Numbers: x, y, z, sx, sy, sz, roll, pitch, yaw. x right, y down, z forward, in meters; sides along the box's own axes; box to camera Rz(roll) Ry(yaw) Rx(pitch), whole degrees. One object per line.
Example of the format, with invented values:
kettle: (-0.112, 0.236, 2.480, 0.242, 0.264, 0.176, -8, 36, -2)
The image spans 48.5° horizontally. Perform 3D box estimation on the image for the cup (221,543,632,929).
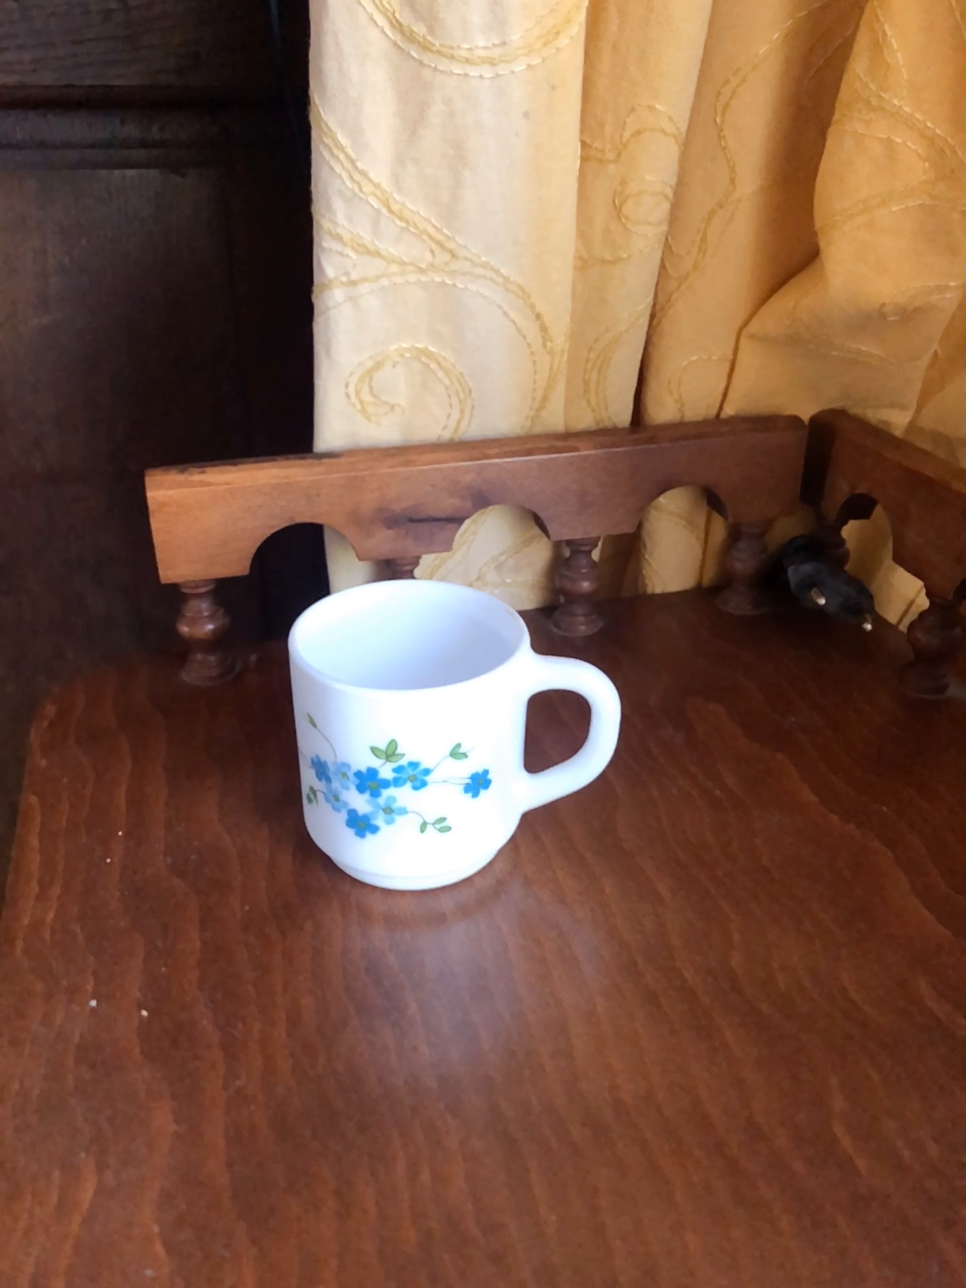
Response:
cup: (-0.010, 0.019, 0.261, 0.080, 0.060, 0.060, 7, 29, 13)
